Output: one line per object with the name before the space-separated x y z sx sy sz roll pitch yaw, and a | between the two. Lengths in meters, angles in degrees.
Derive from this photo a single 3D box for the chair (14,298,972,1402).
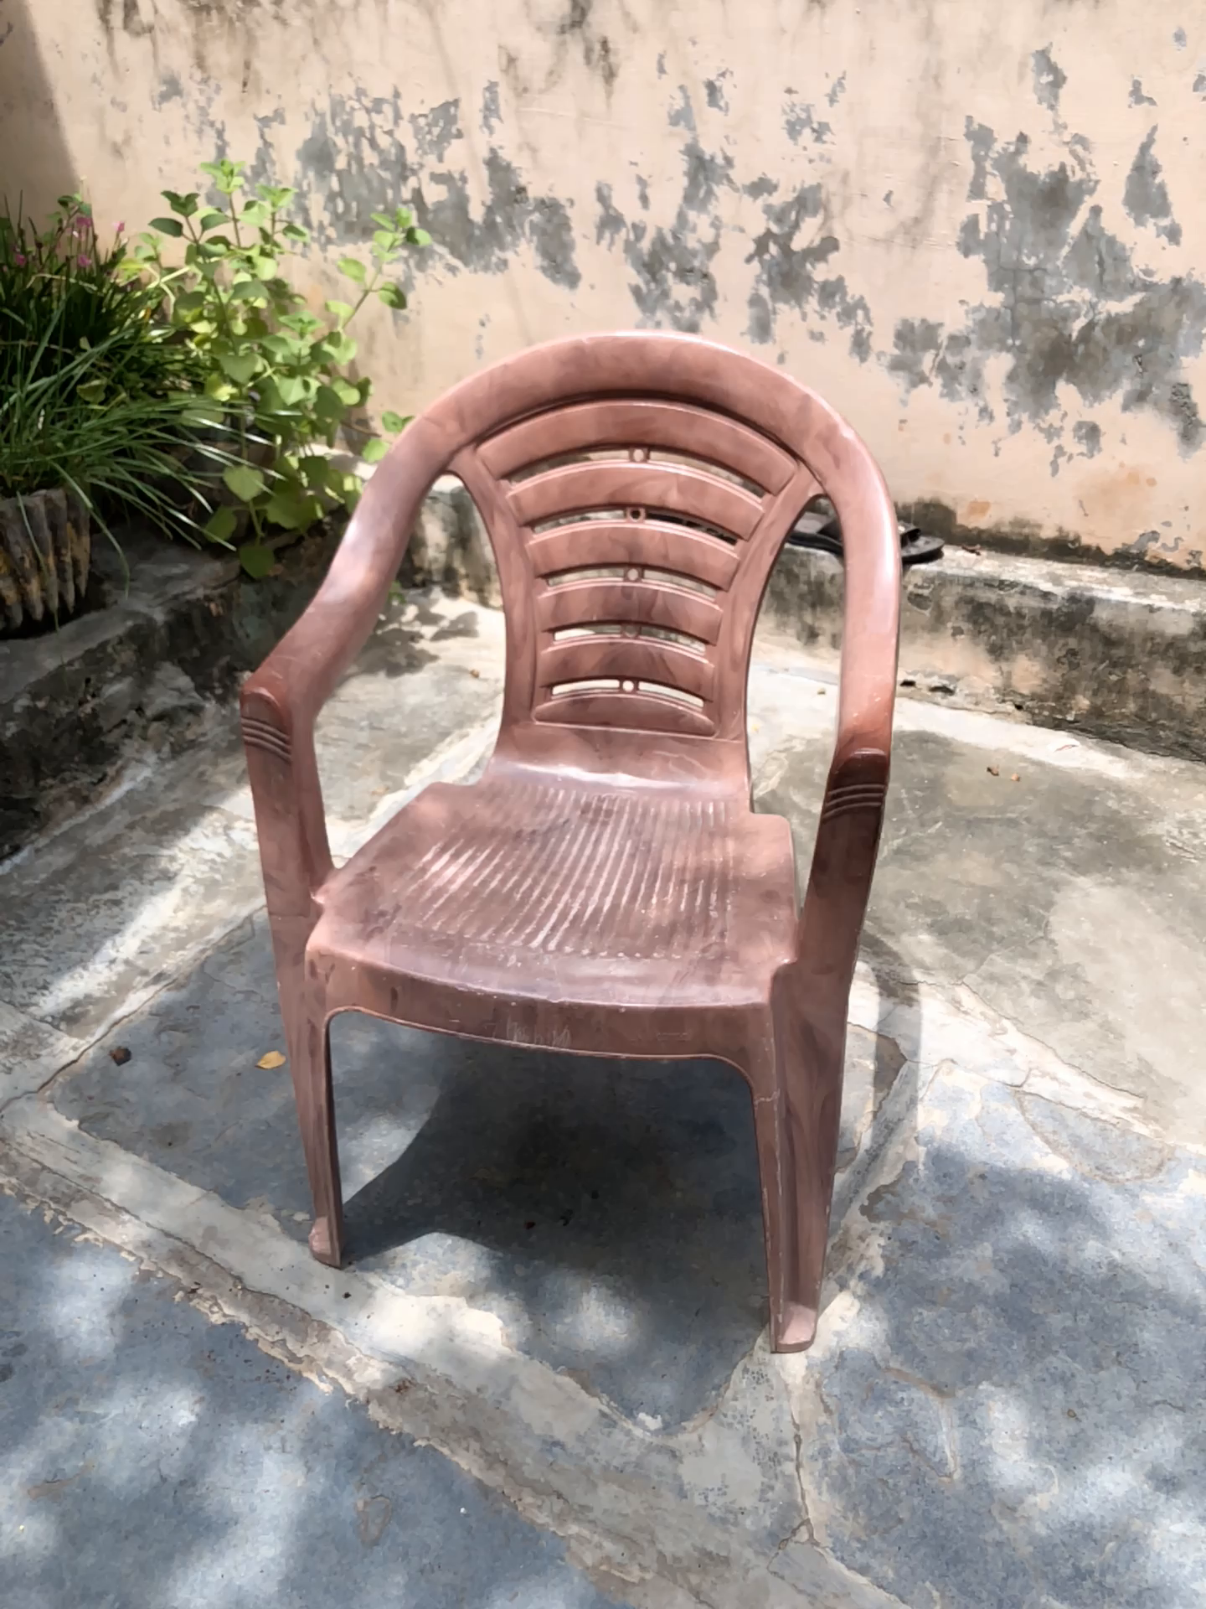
chair | -0.015 0.013 1.205 0.580 0.766 0.543 6 35 12
